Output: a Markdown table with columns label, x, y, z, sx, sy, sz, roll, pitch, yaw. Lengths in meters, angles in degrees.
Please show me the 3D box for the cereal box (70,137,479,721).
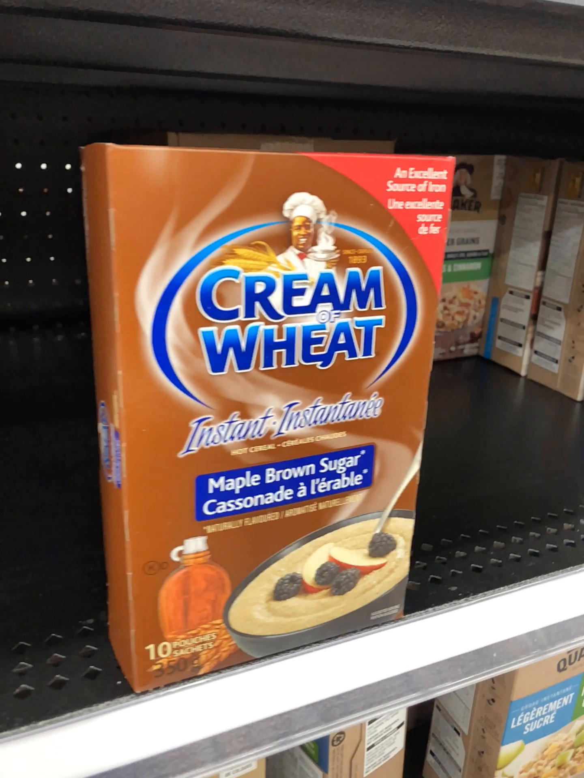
| label | x | y | z | sx | sy | sz | roll | pitch | yaw |
| --- | --- | --- | --- | --- | --- | --- | --- | --- | --- |
| cereal box | -0.010 | 0.012 | 0.263 | 0.130 | 0.209 | 0.060 | -7 | 22 | -22 |
